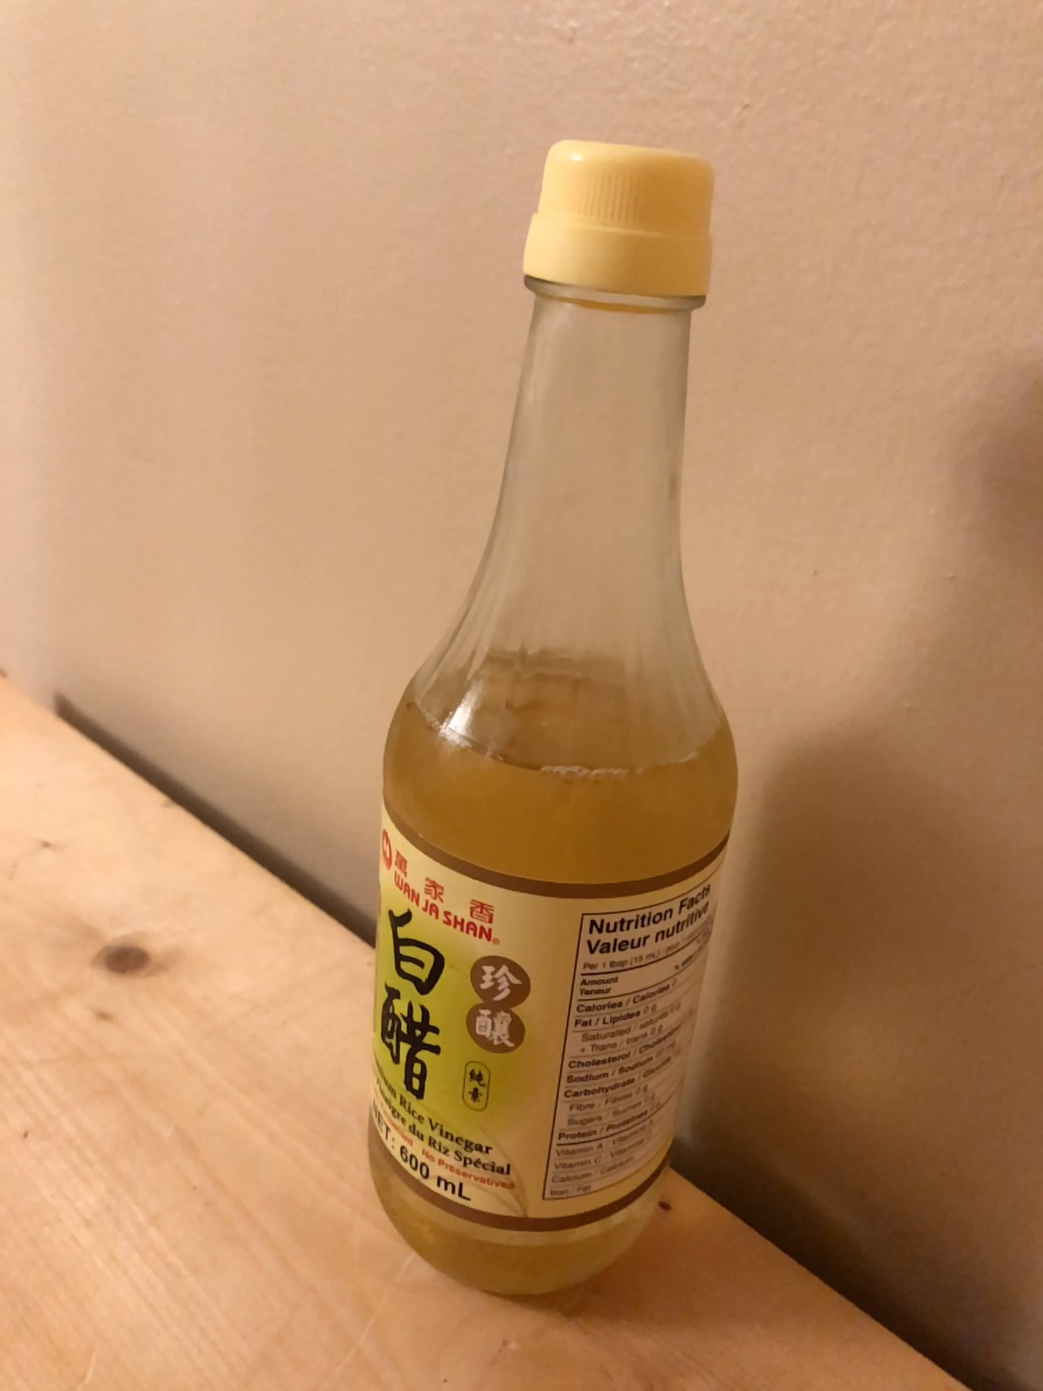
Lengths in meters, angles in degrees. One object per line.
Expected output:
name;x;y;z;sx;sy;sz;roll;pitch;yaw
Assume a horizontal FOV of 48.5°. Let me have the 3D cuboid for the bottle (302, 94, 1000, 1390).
bottle;0.013;0.014;0.240;0.080;0.239;0.080;5;24;-2
